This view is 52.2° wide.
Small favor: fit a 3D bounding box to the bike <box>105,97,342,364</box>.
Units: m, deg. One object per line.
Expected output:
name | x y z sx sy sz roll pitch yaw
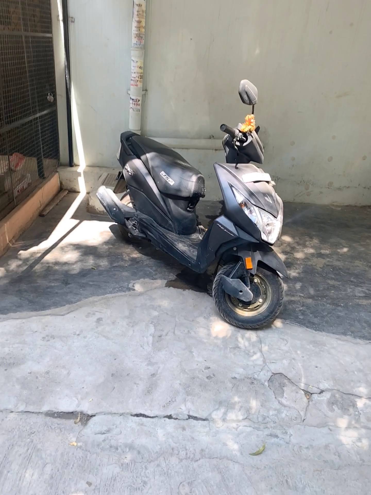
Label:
bike | 0.095 -0.226 2.668 0.503 1.278 1.512 -20 39 -41
